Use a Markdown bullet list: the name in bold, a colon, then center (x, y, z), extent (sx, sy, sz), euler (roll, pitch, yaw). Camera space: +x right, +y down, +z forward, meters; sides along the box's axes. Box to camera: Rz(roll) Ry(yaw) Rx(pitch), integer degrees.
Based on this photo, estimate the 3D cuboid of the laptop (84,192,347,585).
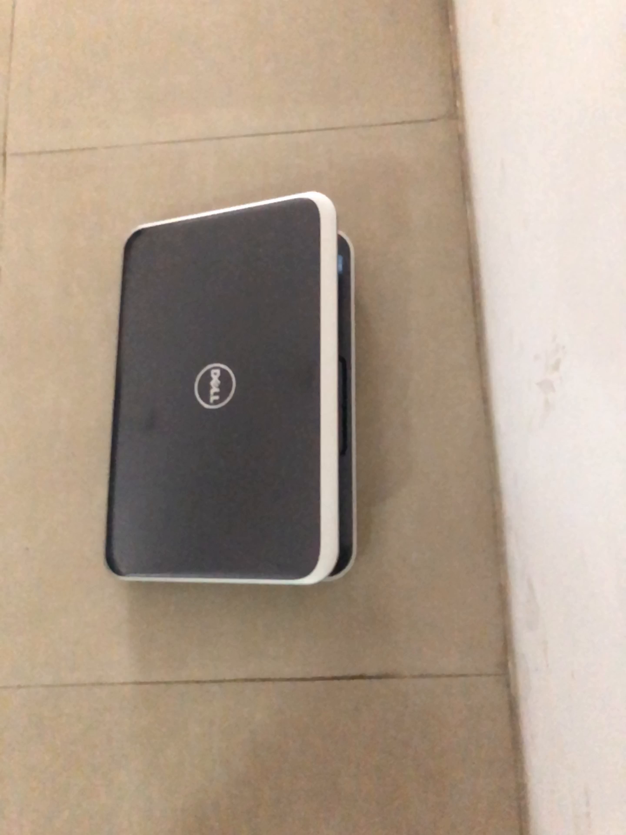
- **laptop**: center (-0.086, -0.026, 0.677), extent (0.234, 0.080, 0.360), euler (-1, 81, 6)
